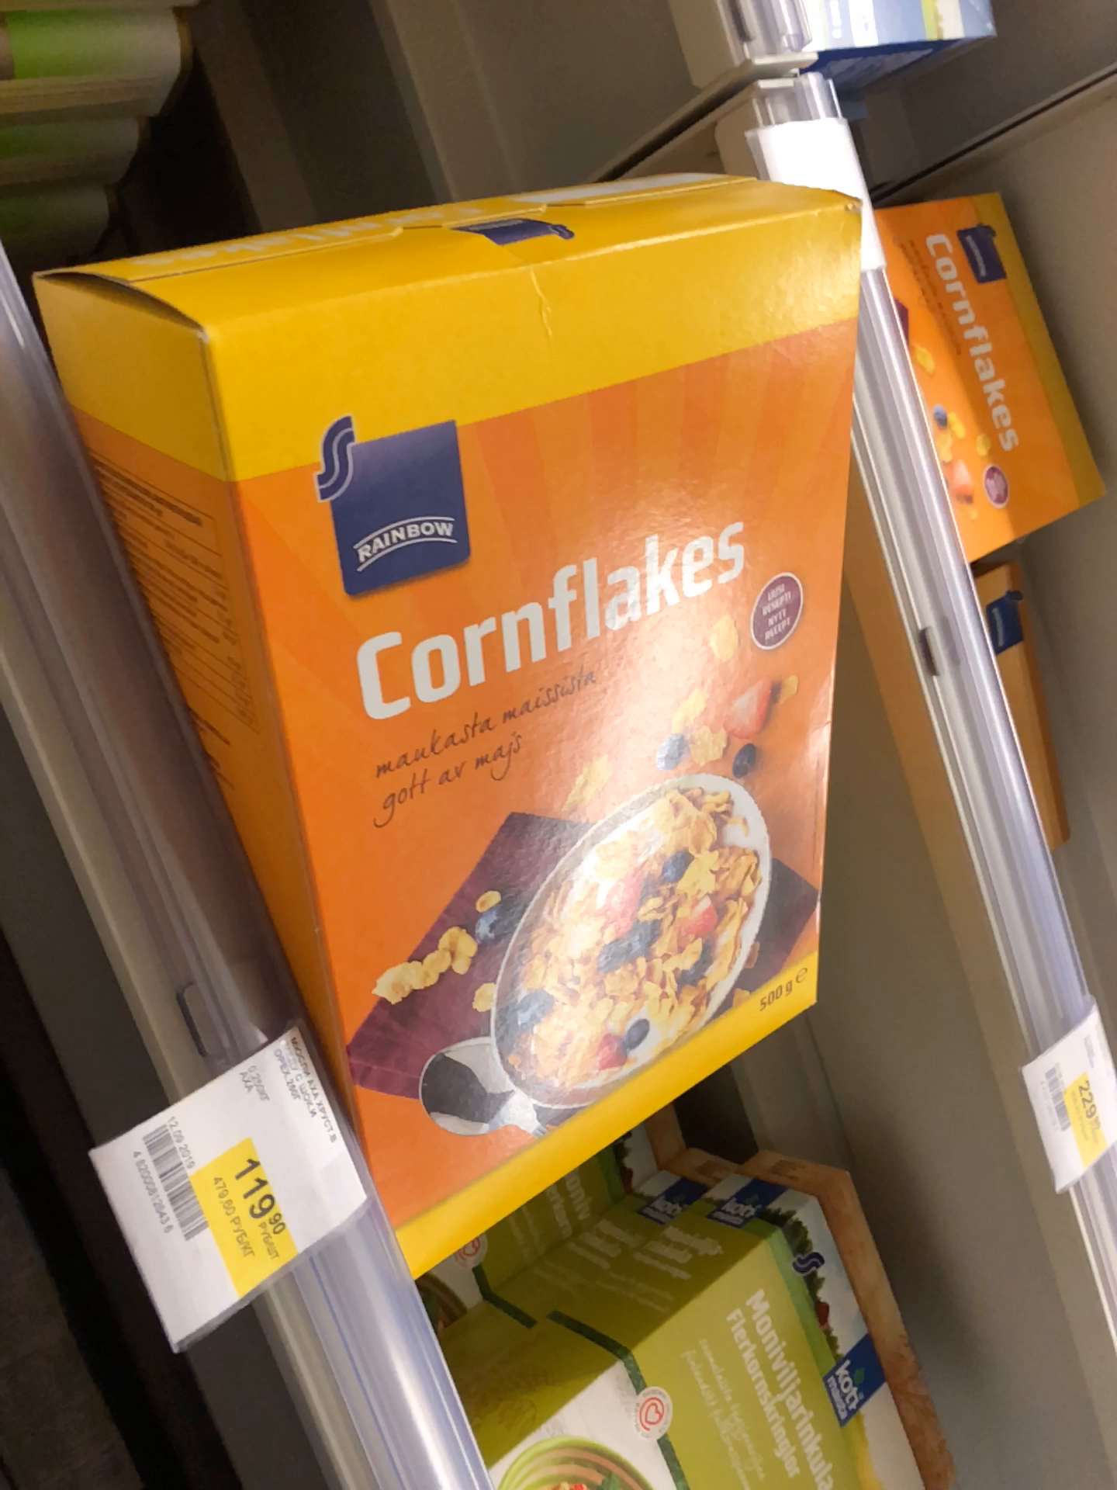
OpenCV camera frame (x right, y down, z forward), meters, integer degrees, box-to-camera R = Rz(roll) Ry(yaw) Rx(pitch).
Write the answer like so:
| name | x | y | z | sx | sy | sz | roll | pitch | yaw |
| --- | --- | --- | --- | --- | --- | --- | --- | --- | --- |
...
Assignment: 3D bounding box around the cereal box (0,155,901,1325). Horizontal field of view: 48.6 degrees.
| name | x | y | z | sx | sy | sz | roll | pitch | yaw |
| --- | --- | --- | --- | --- | --- | --- | --- | --- | --- |
| cereal box | -0.018 | -0.011 | 0.385 | 0.120 | 0.201 | 0.289 | 30 | -46 | 43 |
